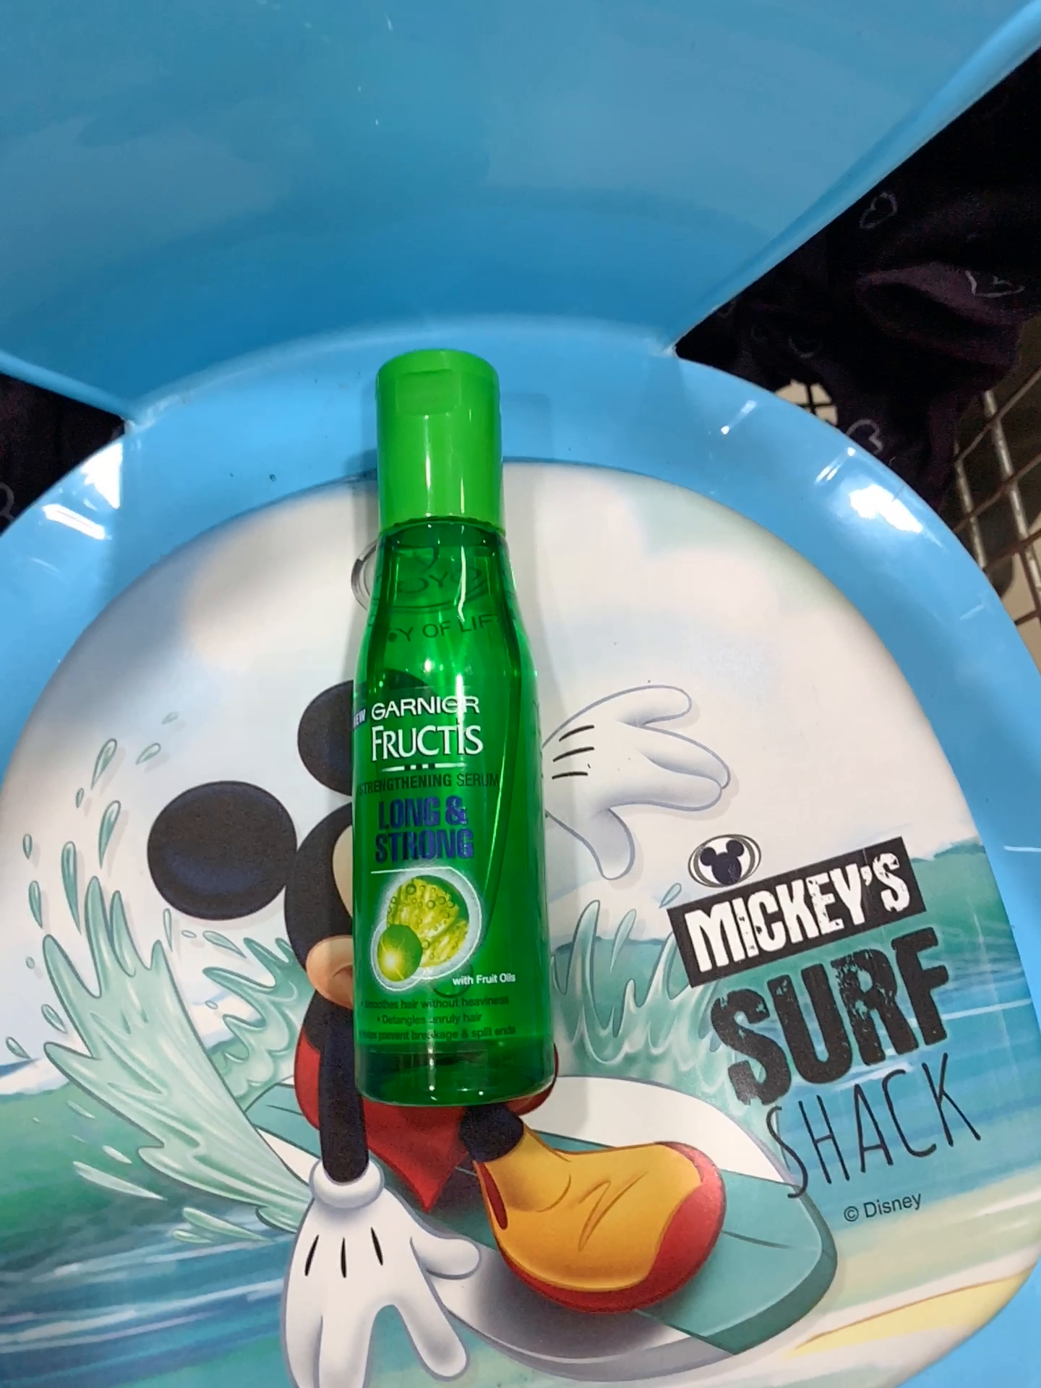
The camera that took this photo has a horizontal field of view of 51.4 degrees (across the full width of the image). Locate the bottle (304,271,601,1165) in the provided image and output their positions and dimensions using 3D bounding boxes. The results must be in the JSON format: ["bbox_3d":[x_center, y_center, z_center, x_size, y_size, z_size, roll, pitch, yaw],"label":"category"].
[{"bbox_3d":[-0.014,0.003,0.214,0.040,0.040,0.160,-8,76,21],"label":"bottle"}]
